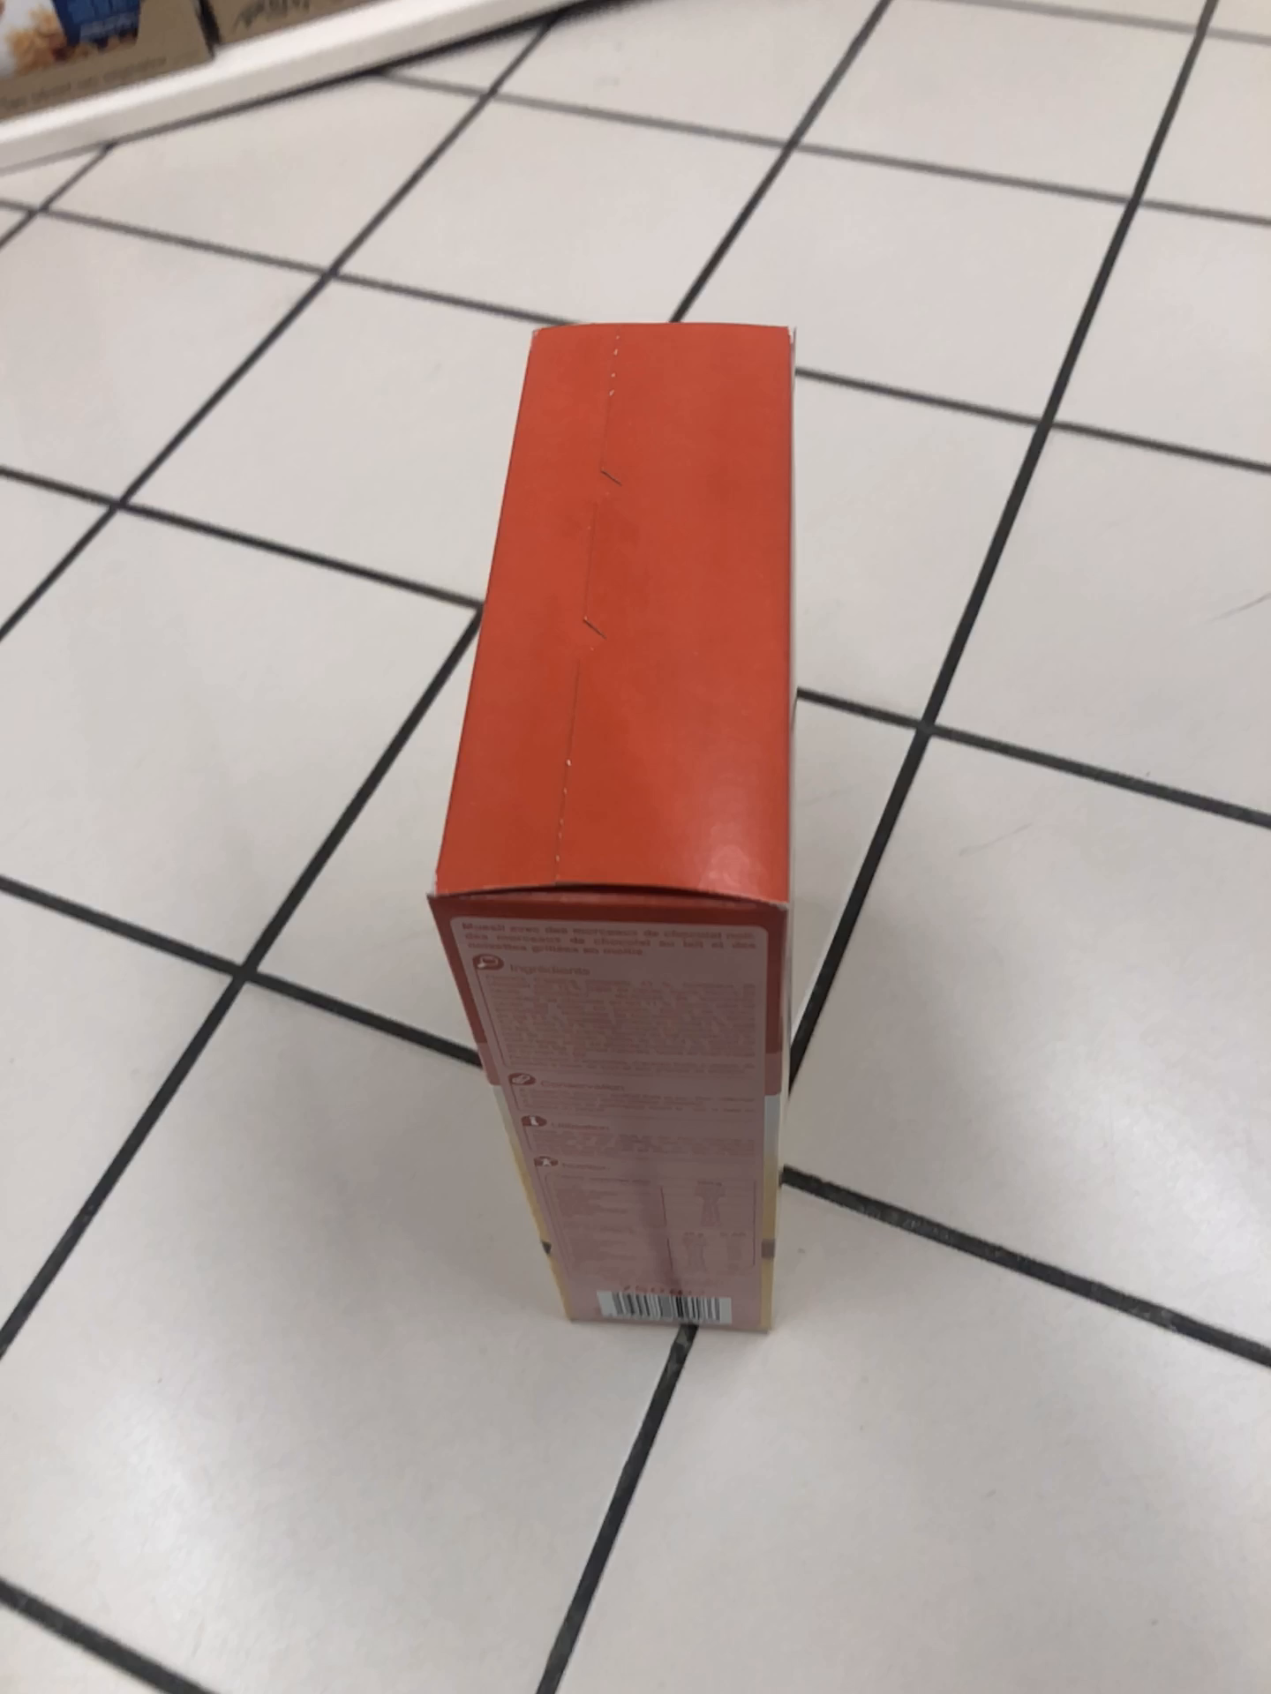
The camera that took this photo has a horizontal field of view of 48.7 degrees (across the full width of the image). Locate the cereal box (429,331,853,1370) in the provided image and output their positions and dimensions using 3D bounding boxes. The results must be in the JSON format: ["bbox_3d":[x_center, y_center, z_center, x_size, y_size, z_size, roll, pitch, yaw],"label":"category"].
[{"bbox_3d":[0.012,0.018,0.378,0.070,0.239,0.171,0,54,5],"label":"cereal box"}]
